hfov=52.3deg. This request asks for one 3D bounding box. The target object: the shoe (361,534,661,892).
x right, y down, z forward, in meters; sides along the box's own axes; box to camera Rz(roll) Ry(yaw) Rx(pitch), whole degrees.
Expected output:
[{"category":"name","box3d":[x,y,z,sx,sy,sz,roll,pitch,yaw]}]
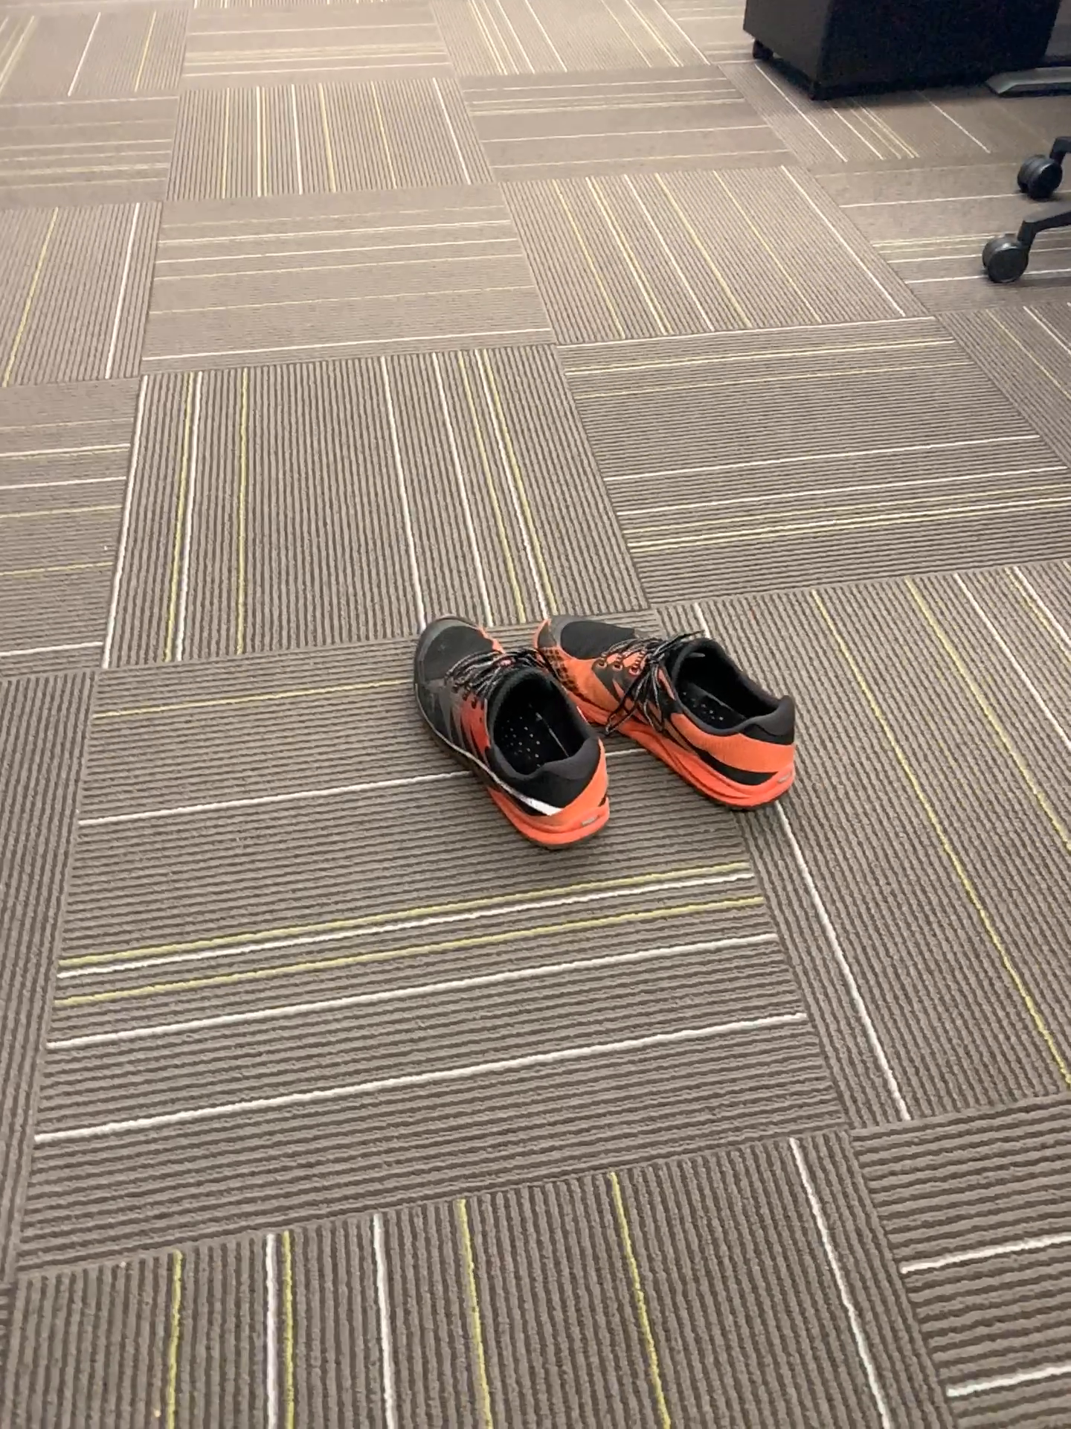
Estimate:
[{"category":"shoe","box3d":[-0.033,-0.013,1.034,0.130,0.129,0.321,-23,51,-21]}]

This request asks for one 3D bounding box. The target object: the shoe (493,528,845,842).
[{"category":"shoe","box3d":[0.119,-0.037,1.064,0.311,0.129,0.130,32,55,26]}]
